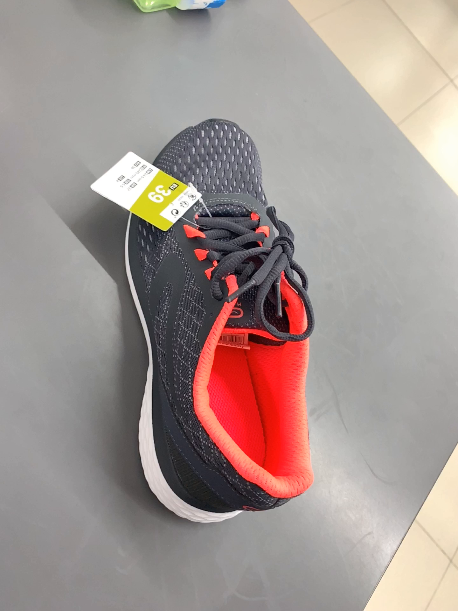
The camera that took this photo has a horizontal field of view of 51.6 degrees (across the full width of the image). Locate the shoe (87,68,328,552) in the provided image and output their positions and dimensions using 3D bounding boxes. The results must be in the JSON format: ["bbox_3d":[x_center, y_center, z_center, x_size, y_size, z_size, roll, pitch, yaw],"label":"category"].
[{"bbox_3d":[-0.022,0.003,0.320,0.110,0.110,0.270,7,70,-21],"label":"shoe"}]
